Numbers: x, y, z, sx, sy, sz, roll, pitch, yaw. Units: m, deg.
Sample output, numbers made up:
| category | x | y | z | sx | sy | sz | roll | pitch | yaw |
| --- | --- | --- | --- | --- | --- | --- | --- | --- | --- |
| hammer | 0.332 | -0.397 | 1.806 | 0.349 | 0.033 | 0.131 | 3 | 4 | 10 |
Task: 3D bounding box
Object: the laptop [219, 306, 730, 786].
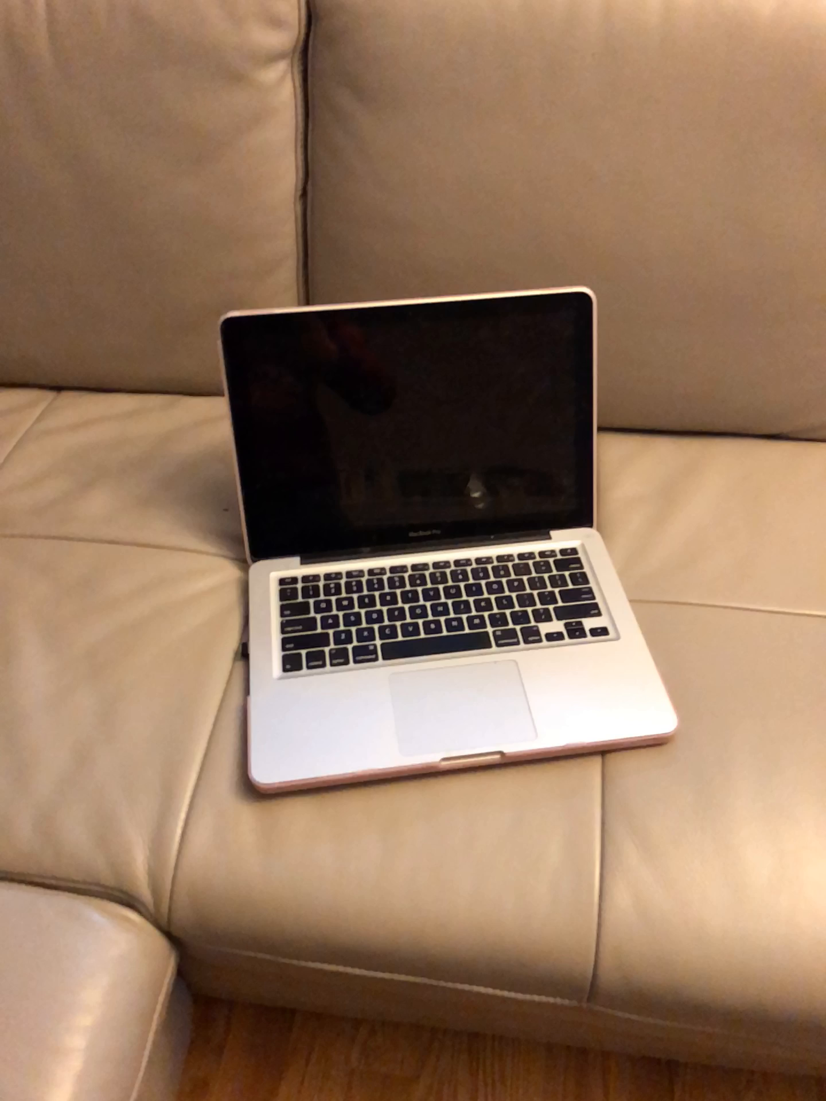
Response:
| category | x | y | z | sx | sy | sz | roll | pitch | yaw |
| --- | --- | --- | --- | --- | --- | --- | --- | --- | --- |
| laptop | 0.022 | -0.020 | 0.706 | 0.308 | 0.166 | 0.324 | -6 | 47 | -5 |
